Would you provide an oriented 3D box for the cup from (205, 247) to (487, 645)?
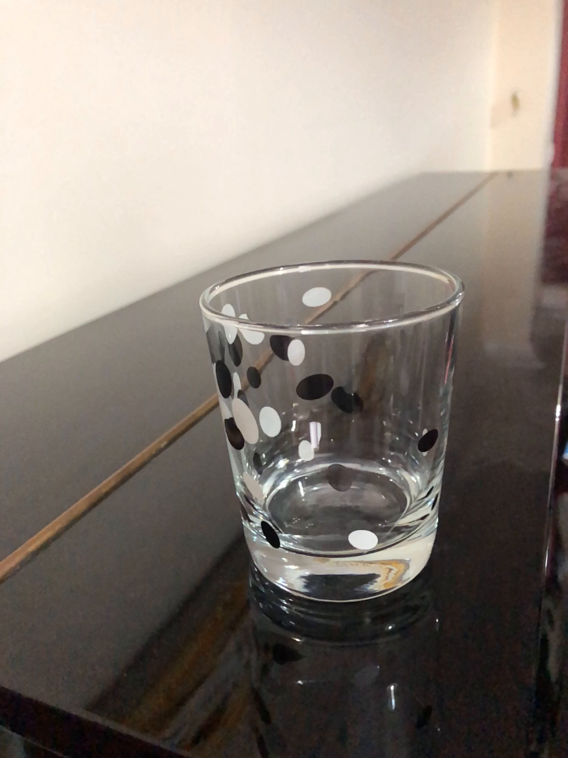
[{"bbox_3d":[0.015,0.015,0.214,0.070,0.099,0.080,-6,21,-6],"label":"cup"}]
